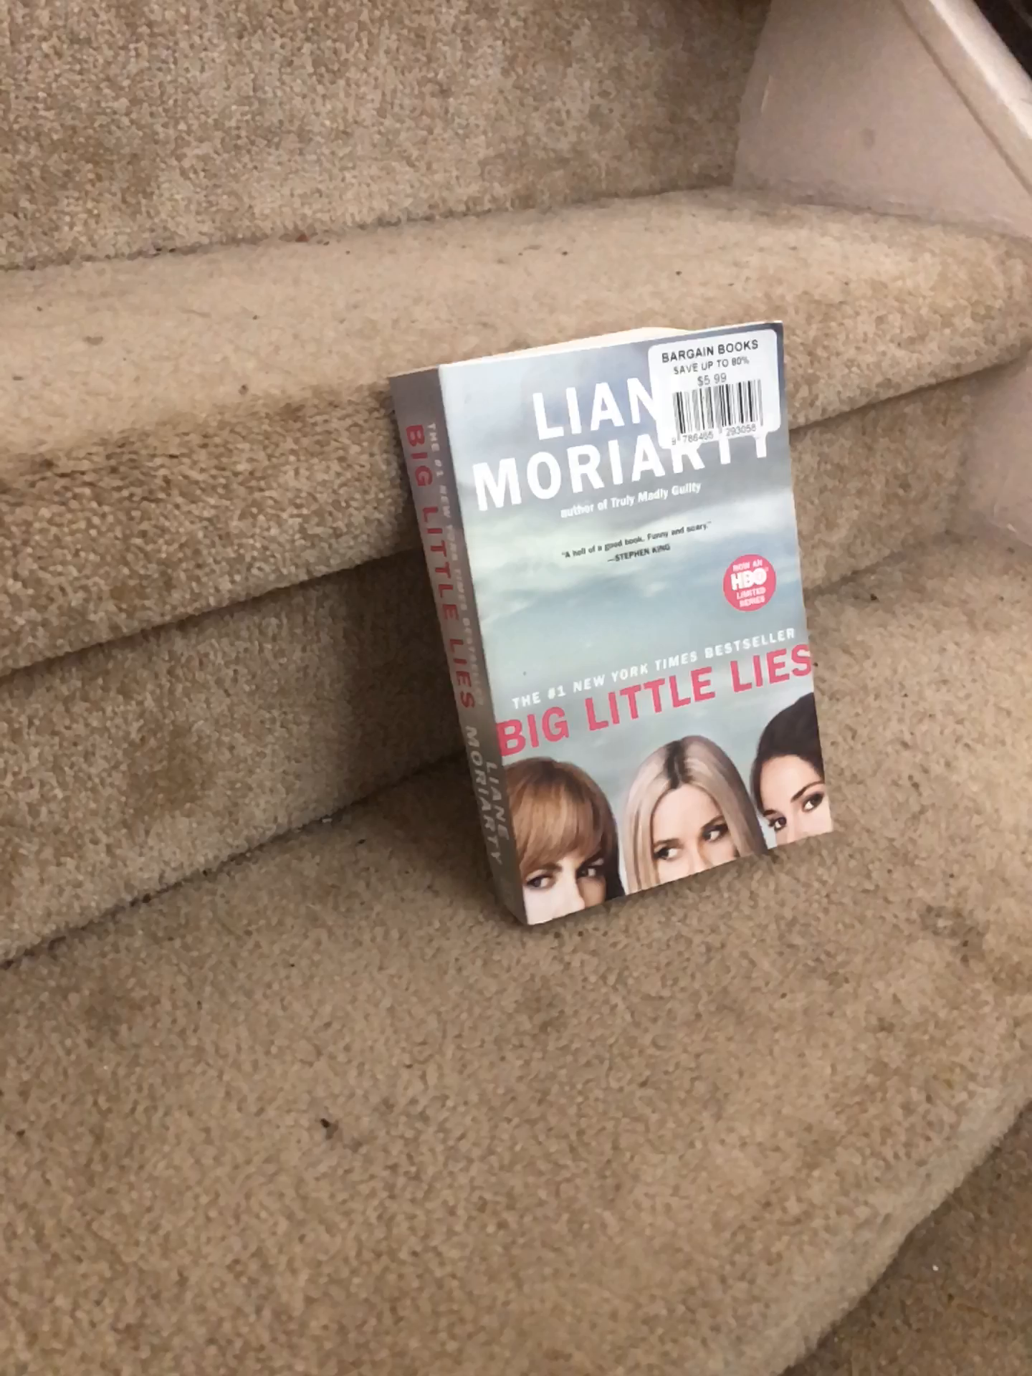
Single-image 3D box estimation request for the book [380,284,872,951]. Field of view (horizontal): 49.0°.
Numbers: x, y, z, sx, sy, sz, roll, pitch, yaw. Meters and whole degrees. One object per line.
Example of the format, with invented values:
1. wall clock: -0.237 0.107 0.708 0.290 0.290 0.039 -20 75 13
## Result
1. book: 0.050 -0.032 0.426 0.160 0.209 0.050 -15 15 -27
